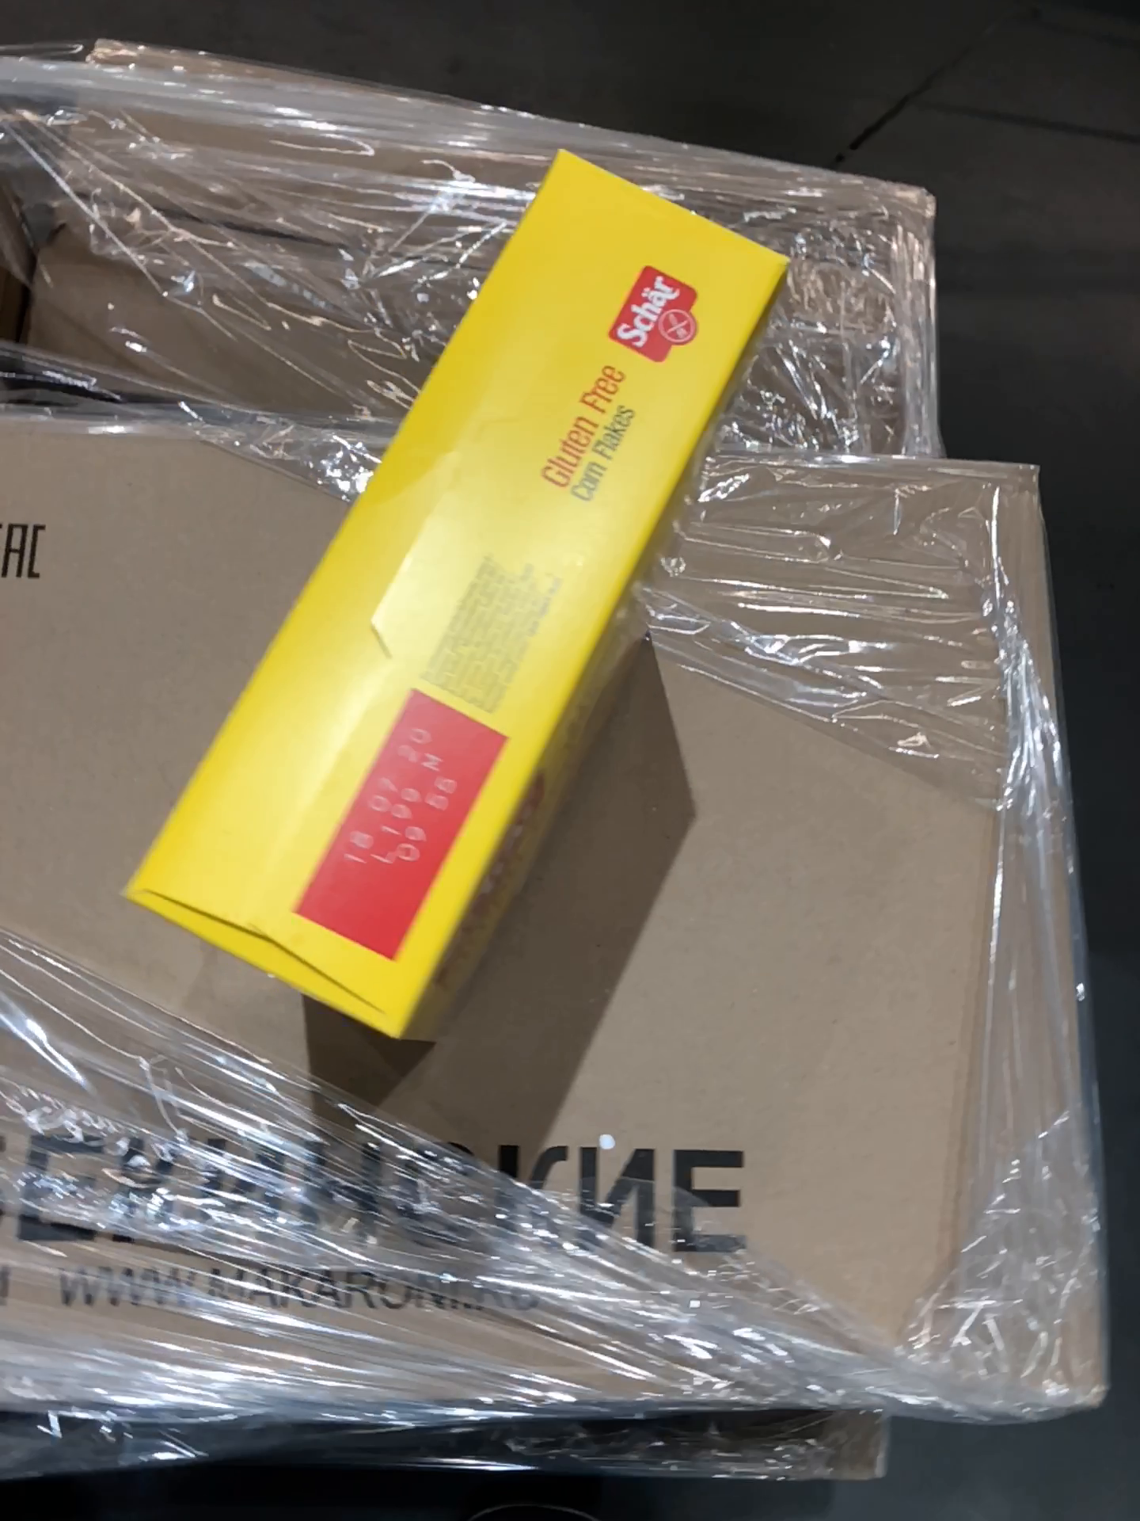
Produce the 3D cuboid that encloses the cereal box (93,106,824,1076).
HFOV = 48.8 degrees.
[{"bbox_3d":[-0.025,-0.014,0.370,0.060,0.250,0.200,26,76,2],"label":"cereal box"}]
